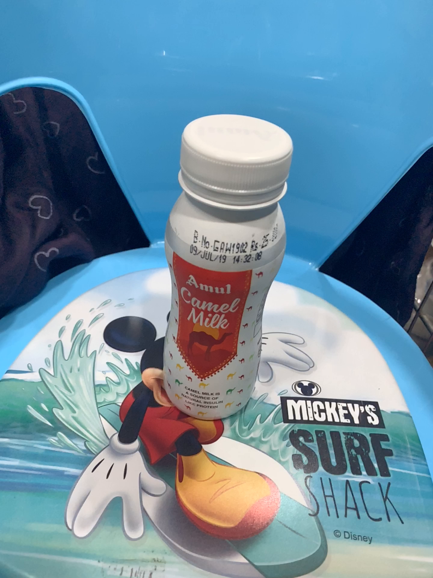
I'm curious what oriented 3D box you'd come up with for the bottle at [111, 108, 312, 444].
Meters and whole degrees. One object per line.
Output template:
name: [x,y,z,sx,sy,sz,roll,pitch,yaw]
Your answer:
bottle: [-0.003,-0.002,0.202,0.060,0.129,0.060,4,37,-3]
